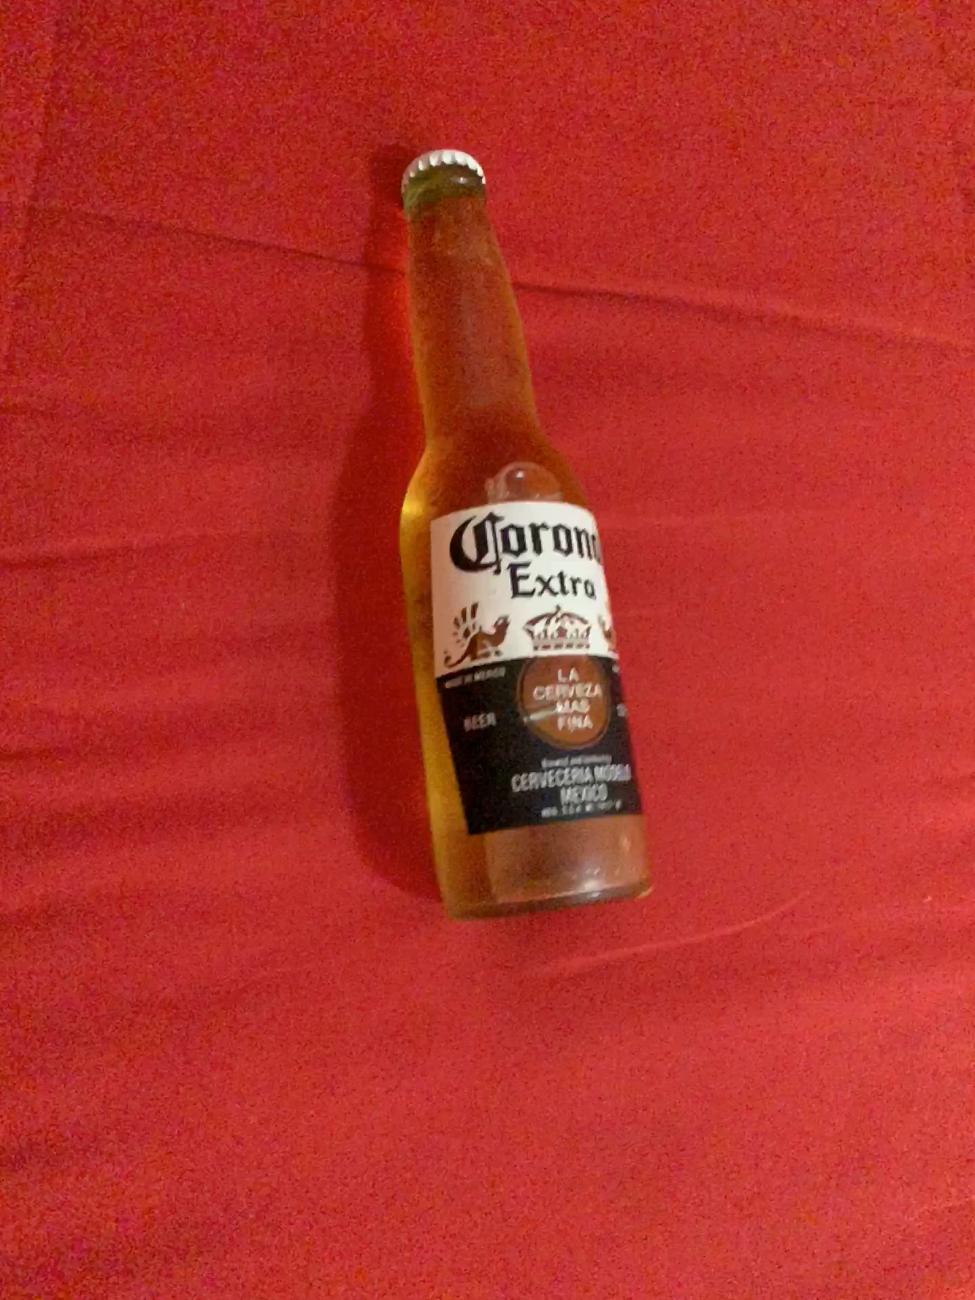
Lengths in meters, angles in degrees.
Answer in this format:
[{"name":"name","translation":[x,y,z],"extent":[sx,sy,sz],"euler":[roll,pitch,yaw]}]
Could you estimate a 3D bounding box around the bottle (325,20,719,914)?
[{"name":"bottle","translation":[0.003,-0.053,0.313],"extent":[0.070,0.070,0.250],"euler":[-4,81,-22]}]
